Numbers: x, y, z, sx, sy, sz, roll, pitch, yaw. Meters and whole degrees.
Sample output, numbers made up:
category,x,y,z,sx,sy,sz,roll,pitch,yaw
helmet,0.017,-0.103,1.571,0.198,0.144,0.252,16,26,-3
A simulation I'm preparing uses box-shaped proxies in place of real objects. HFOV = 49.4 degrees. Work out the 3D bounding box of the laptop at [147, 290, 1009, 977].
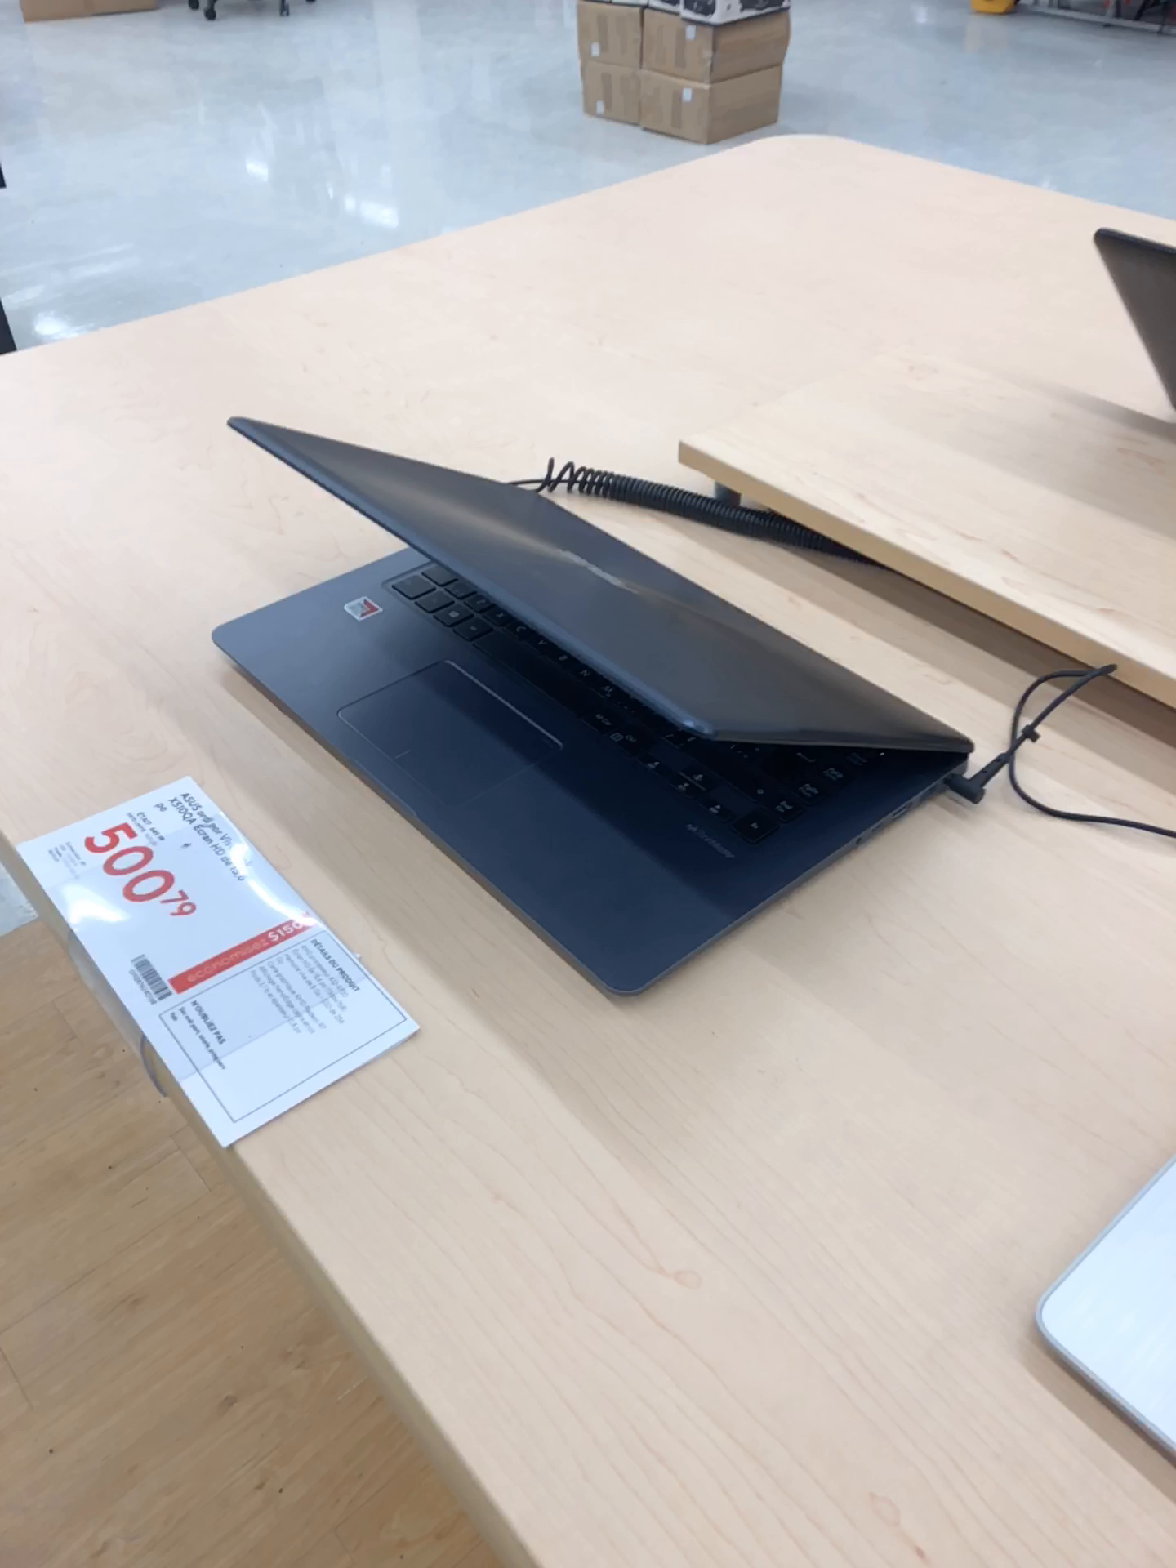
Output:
category,x,y,z,sx,sy,sz,roll,pitch,yaw
laptop,-0.016,-0.105,0.651,0.232,0.136,0.346,-30,50,-30
